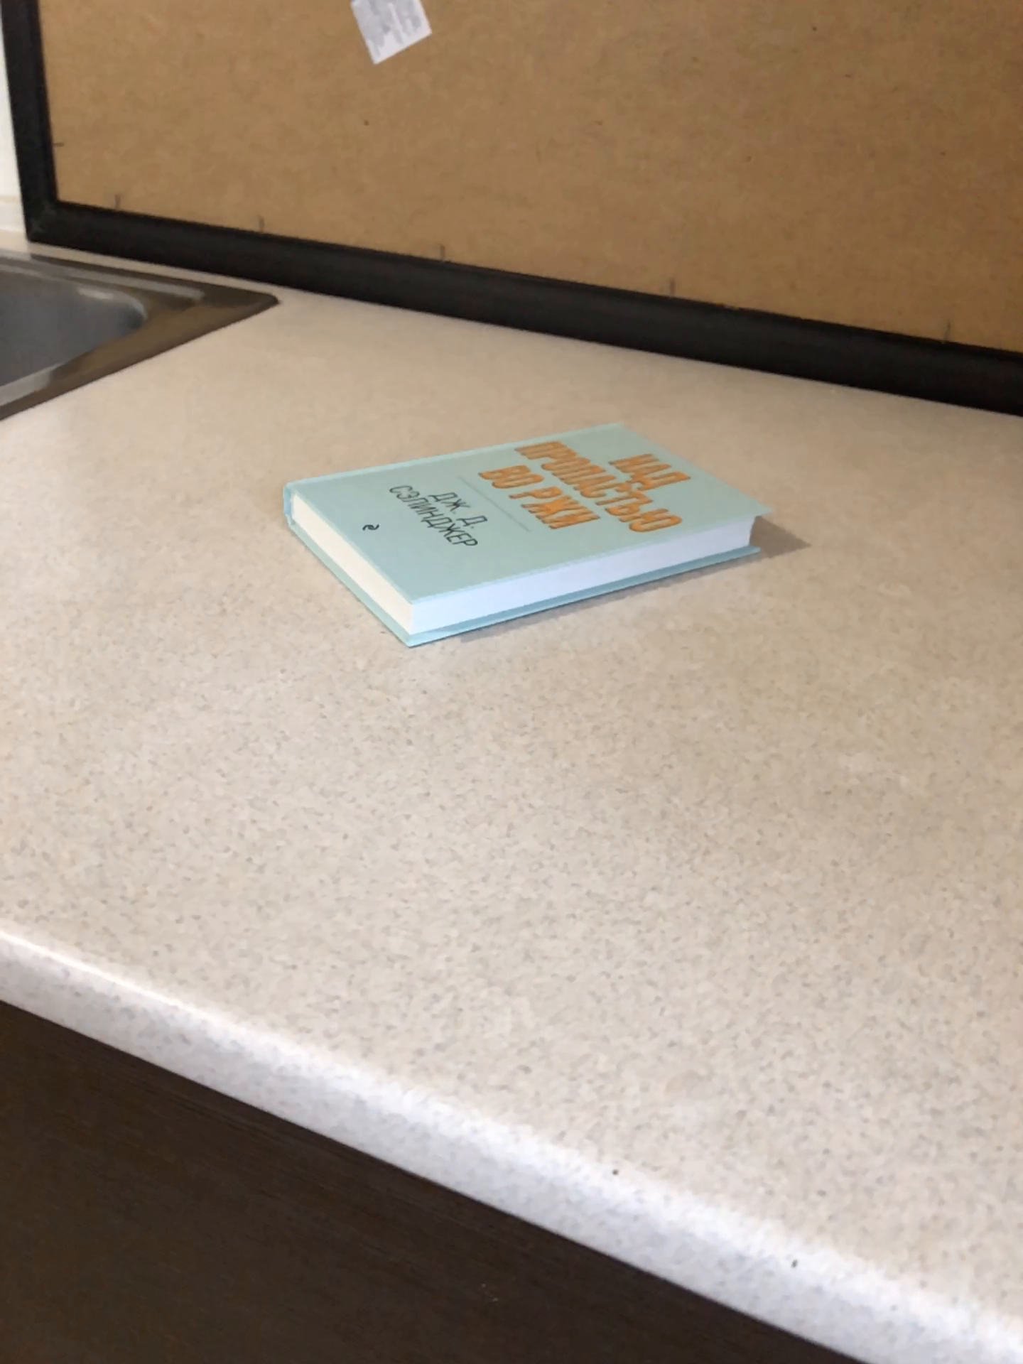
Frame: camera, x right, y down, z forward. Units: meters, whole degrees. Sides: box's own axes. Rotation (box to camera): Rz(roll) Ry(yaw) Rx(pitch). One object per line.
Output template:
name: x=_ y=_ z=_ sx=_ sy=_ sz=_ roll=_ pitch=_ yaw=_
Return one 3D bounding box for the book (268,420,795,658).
book: x=0.007 y=-0.067 z=0.465 sx=0.180 sy=0.020 sz=0.118 roll=-16 pitch=37 yaw=-27
